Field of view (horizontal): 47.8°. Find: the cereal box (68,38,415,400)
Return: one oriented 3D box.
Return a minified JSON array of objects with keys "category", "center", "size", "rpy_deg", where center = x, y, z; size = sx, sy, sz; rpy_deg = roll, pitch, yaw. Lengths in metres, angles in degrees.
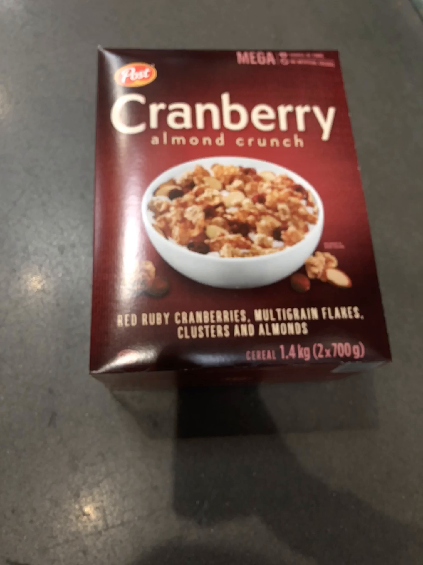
[{"category":"cereal box","center":[0.010,-0.059,0.460],"size":[0.260,0.130,0.310],"rpy_deg":[-3,72,-6]}]
